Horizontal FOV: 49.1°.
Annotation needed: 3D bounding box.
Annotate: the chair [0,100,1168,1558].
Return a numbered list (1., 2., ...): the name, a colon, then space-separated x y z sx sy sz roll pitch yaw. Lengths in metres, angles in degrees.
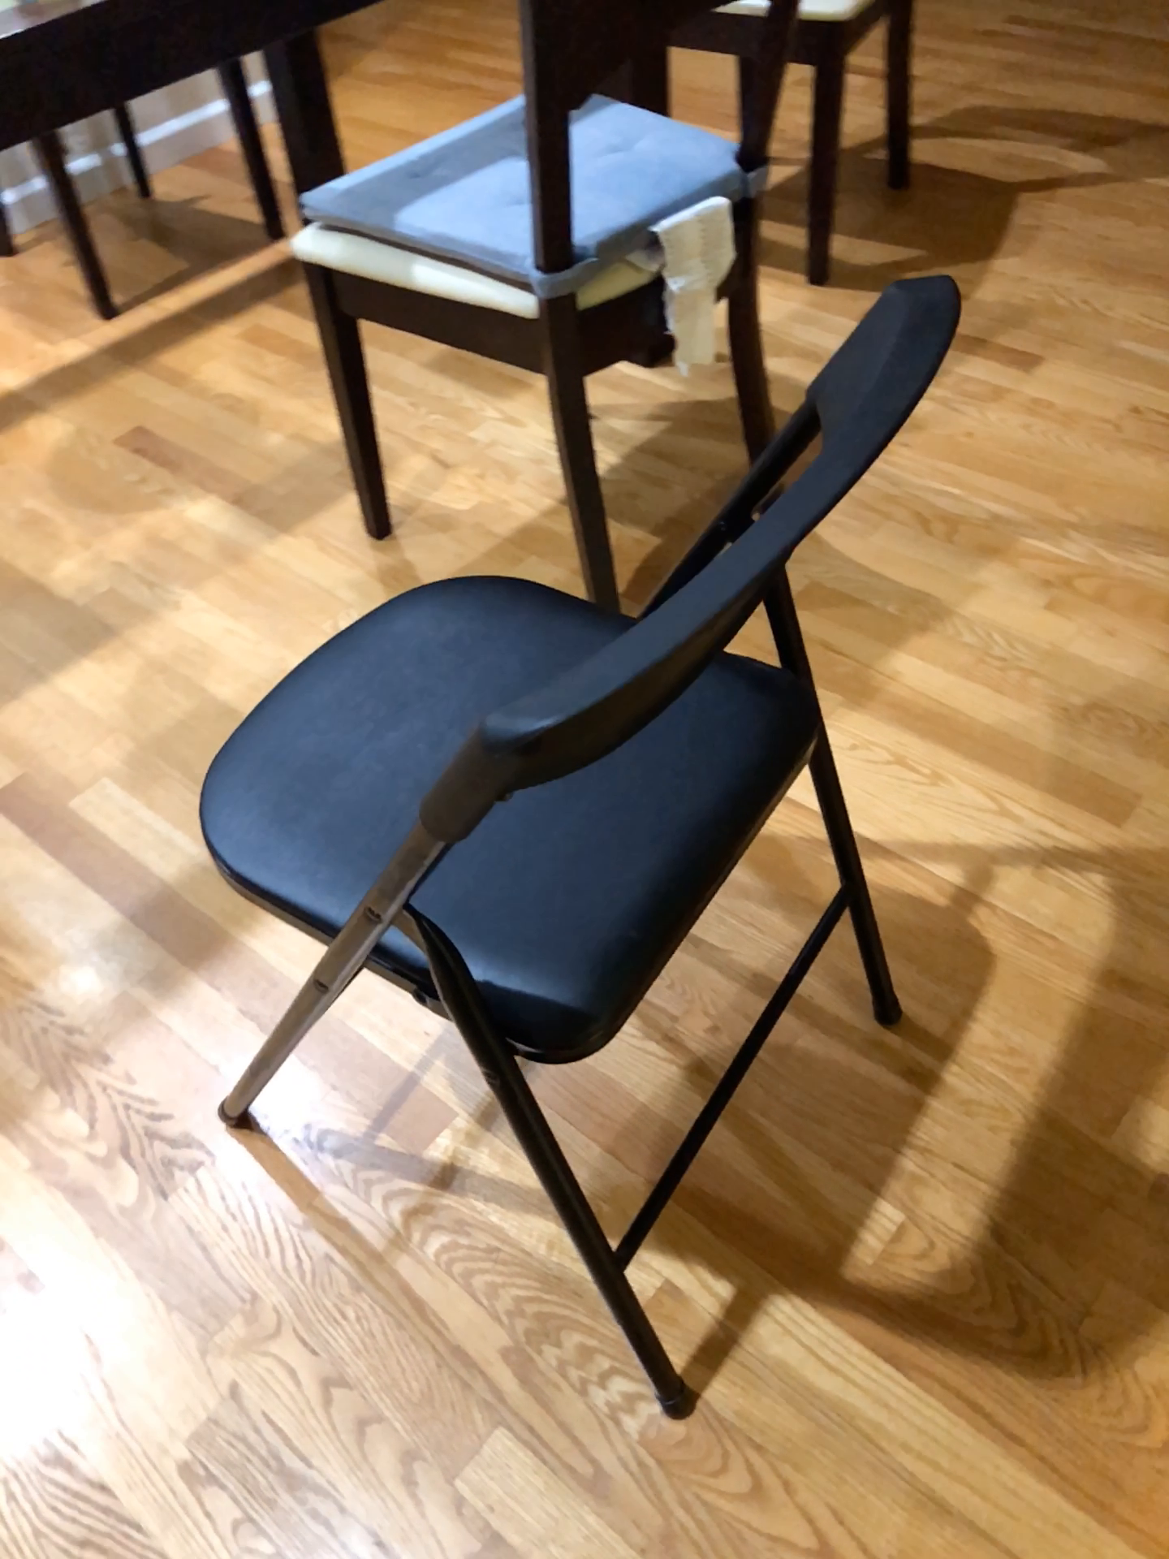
1. chair: -0.011 0.012 0.918 0.681 0.657 0.612 22 53 25
